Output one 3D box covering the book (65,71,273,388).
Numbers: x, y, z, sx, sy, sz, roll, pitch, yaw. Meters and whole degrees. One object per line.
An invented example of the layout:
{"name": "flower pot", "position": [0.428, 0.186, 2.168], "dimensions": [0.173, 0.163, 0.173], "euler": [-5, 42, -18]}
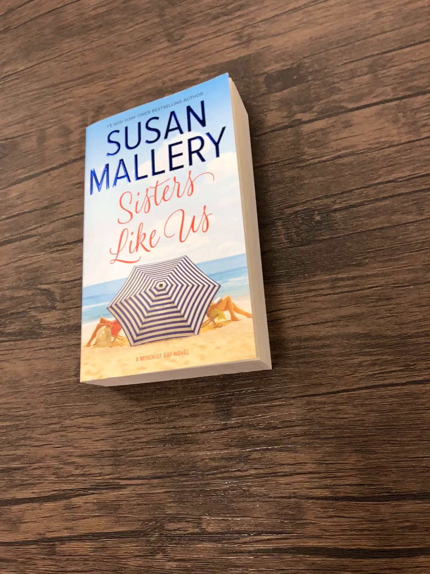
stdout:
{"name": "book", "position": [-0.030, -0.028, 0.281], "dimensions": [0.104, 0.043, 0.160], "euler": [-11, 73, 22]}
